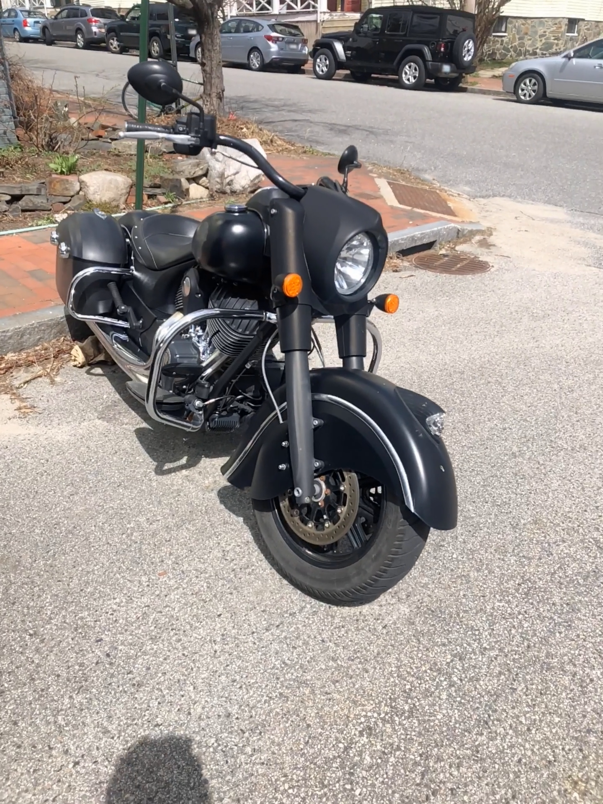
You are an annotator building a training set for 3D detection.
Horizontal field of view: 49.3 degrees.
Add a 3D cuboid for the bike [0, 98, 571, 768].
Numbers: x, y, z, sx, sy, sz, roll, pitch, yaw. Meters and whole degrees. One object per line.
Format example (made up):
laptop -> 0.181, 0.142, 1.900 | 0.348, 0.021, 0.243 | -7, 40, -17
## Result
bike -> -0.311, -0.232, 2.316 | 0.859, 1.301, 2.095 | -19, 35, -31
